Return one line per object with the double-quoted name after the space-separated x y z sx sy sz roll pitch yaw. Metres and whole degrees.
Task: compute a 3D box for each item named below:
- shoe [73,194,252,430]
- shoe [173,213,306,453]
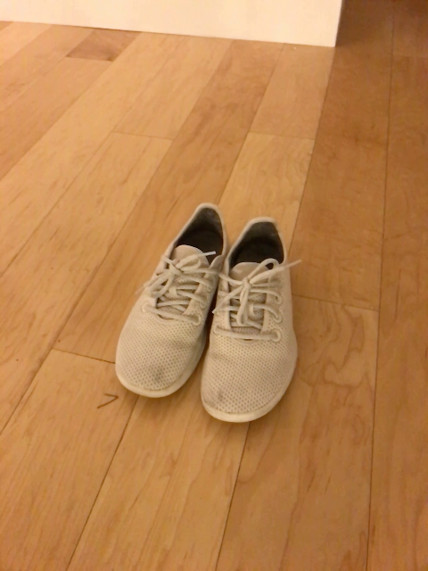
-0.044 0.014 0.578 0.110 0.079 0.292 12 49 13 "shoe"
0.042 0.039 0.557 0.110 0.079 0.282 7 48 8 "shoe"
